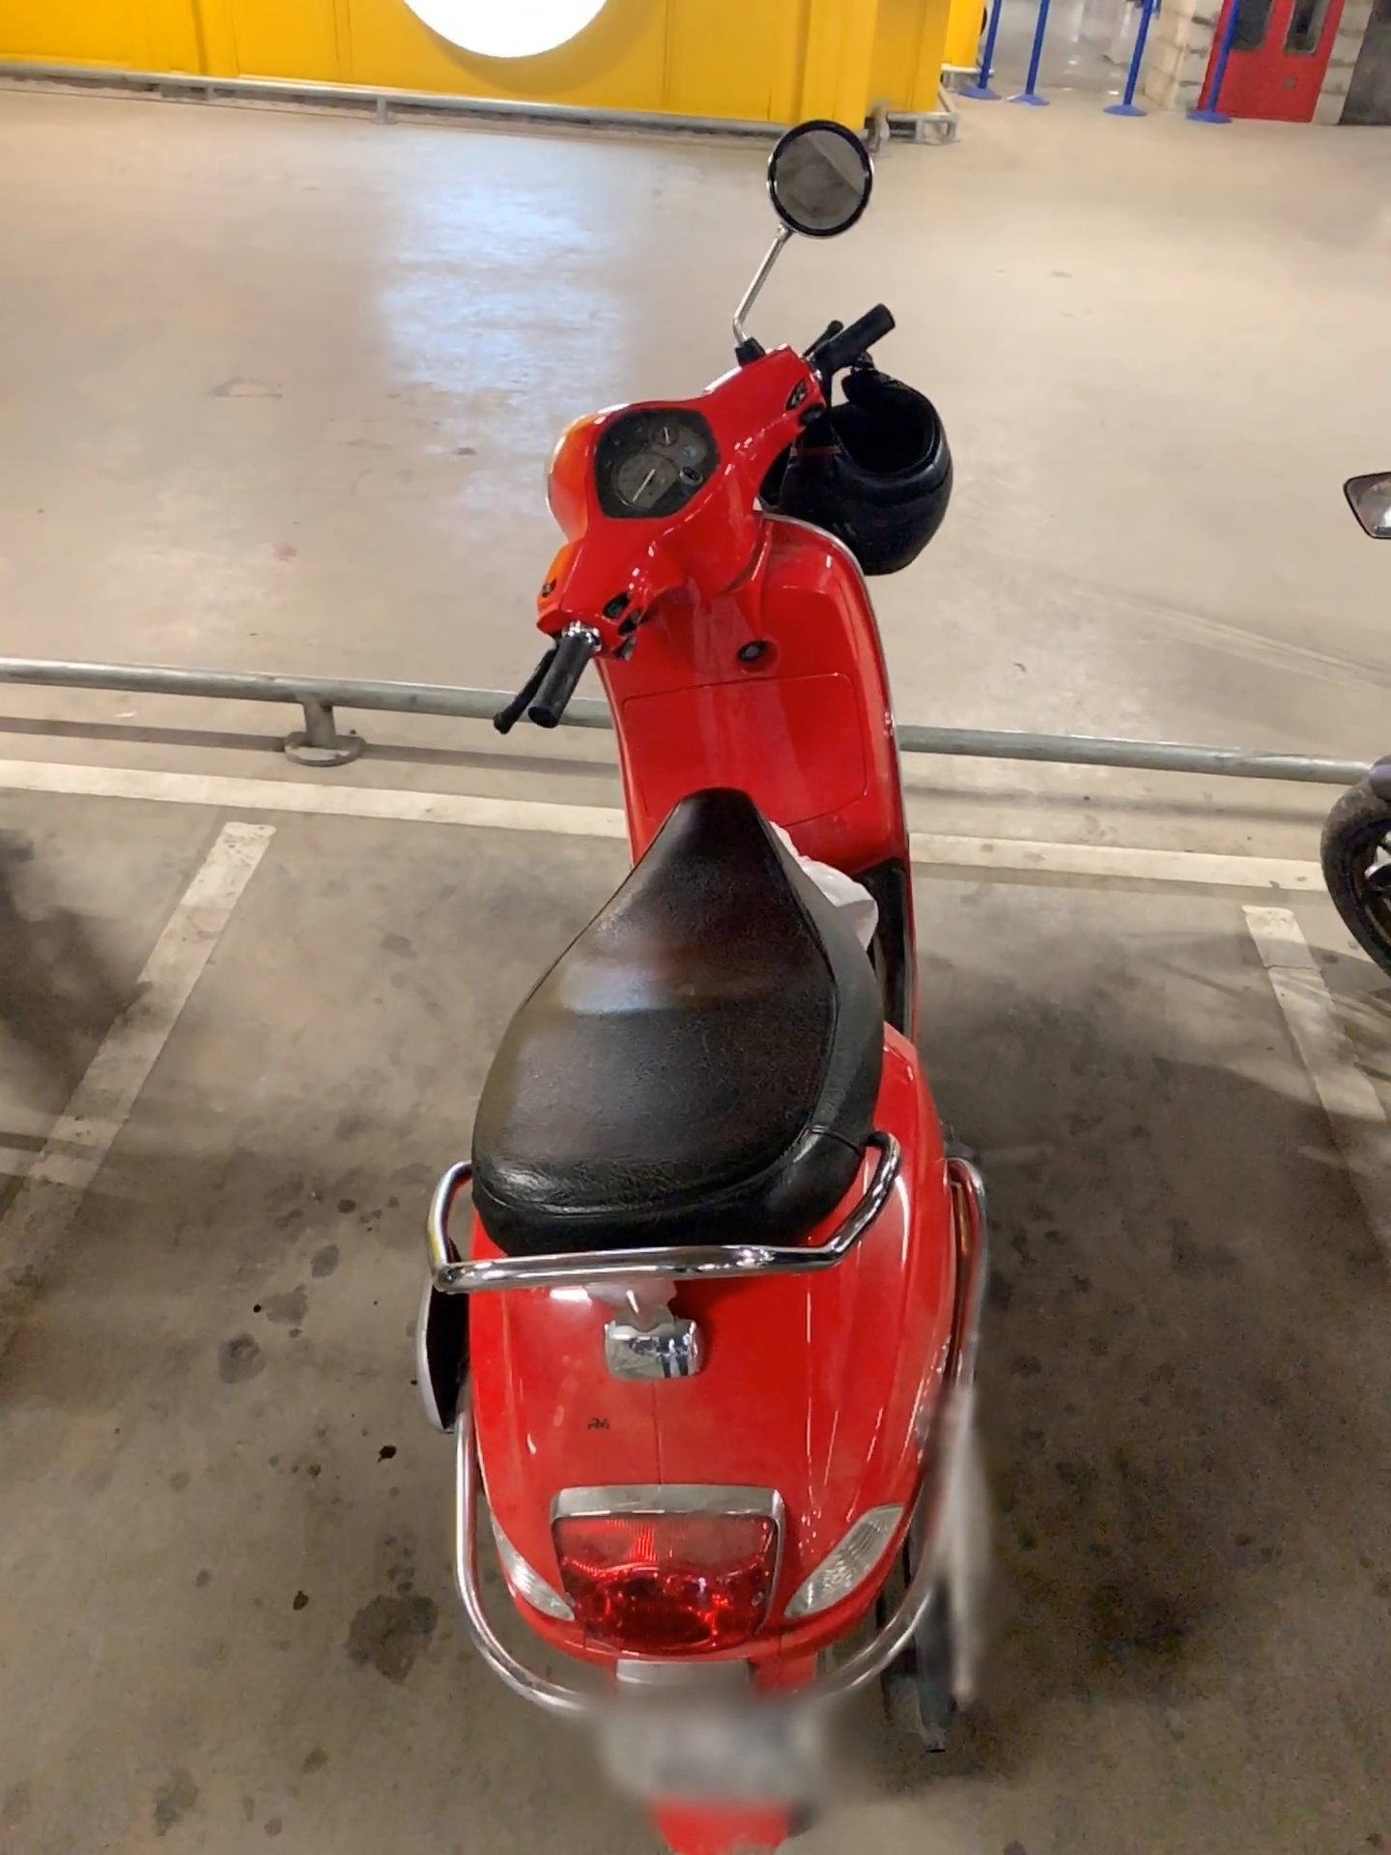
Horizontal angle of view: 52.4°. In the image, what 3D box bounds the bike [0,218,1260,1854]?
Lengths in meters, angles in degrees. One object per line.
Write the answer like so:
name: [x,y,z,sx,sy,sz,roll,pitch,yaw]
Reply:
bike: [-0.113,-0.012,1.731,0.632,1.201,1.687,1,37,-4]
